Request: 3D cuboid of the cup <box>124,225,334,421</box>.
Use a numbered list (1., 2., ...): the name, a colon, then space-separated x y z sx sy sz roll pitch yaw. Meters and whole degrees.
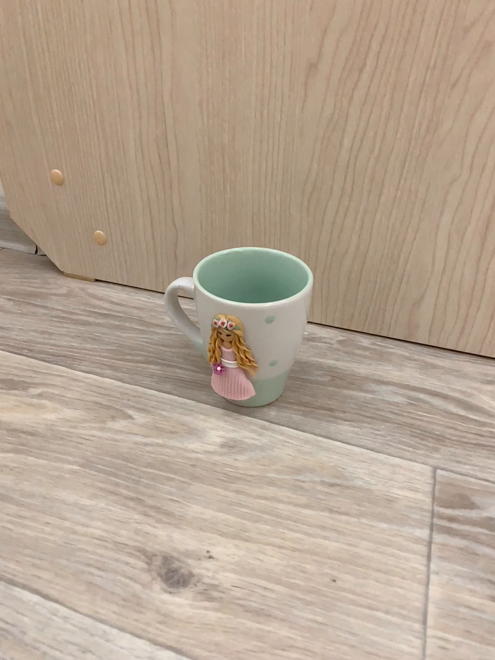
1. cup: -0.009 -0.011 0.356 0.112 0.080 0.093 13 35 16
